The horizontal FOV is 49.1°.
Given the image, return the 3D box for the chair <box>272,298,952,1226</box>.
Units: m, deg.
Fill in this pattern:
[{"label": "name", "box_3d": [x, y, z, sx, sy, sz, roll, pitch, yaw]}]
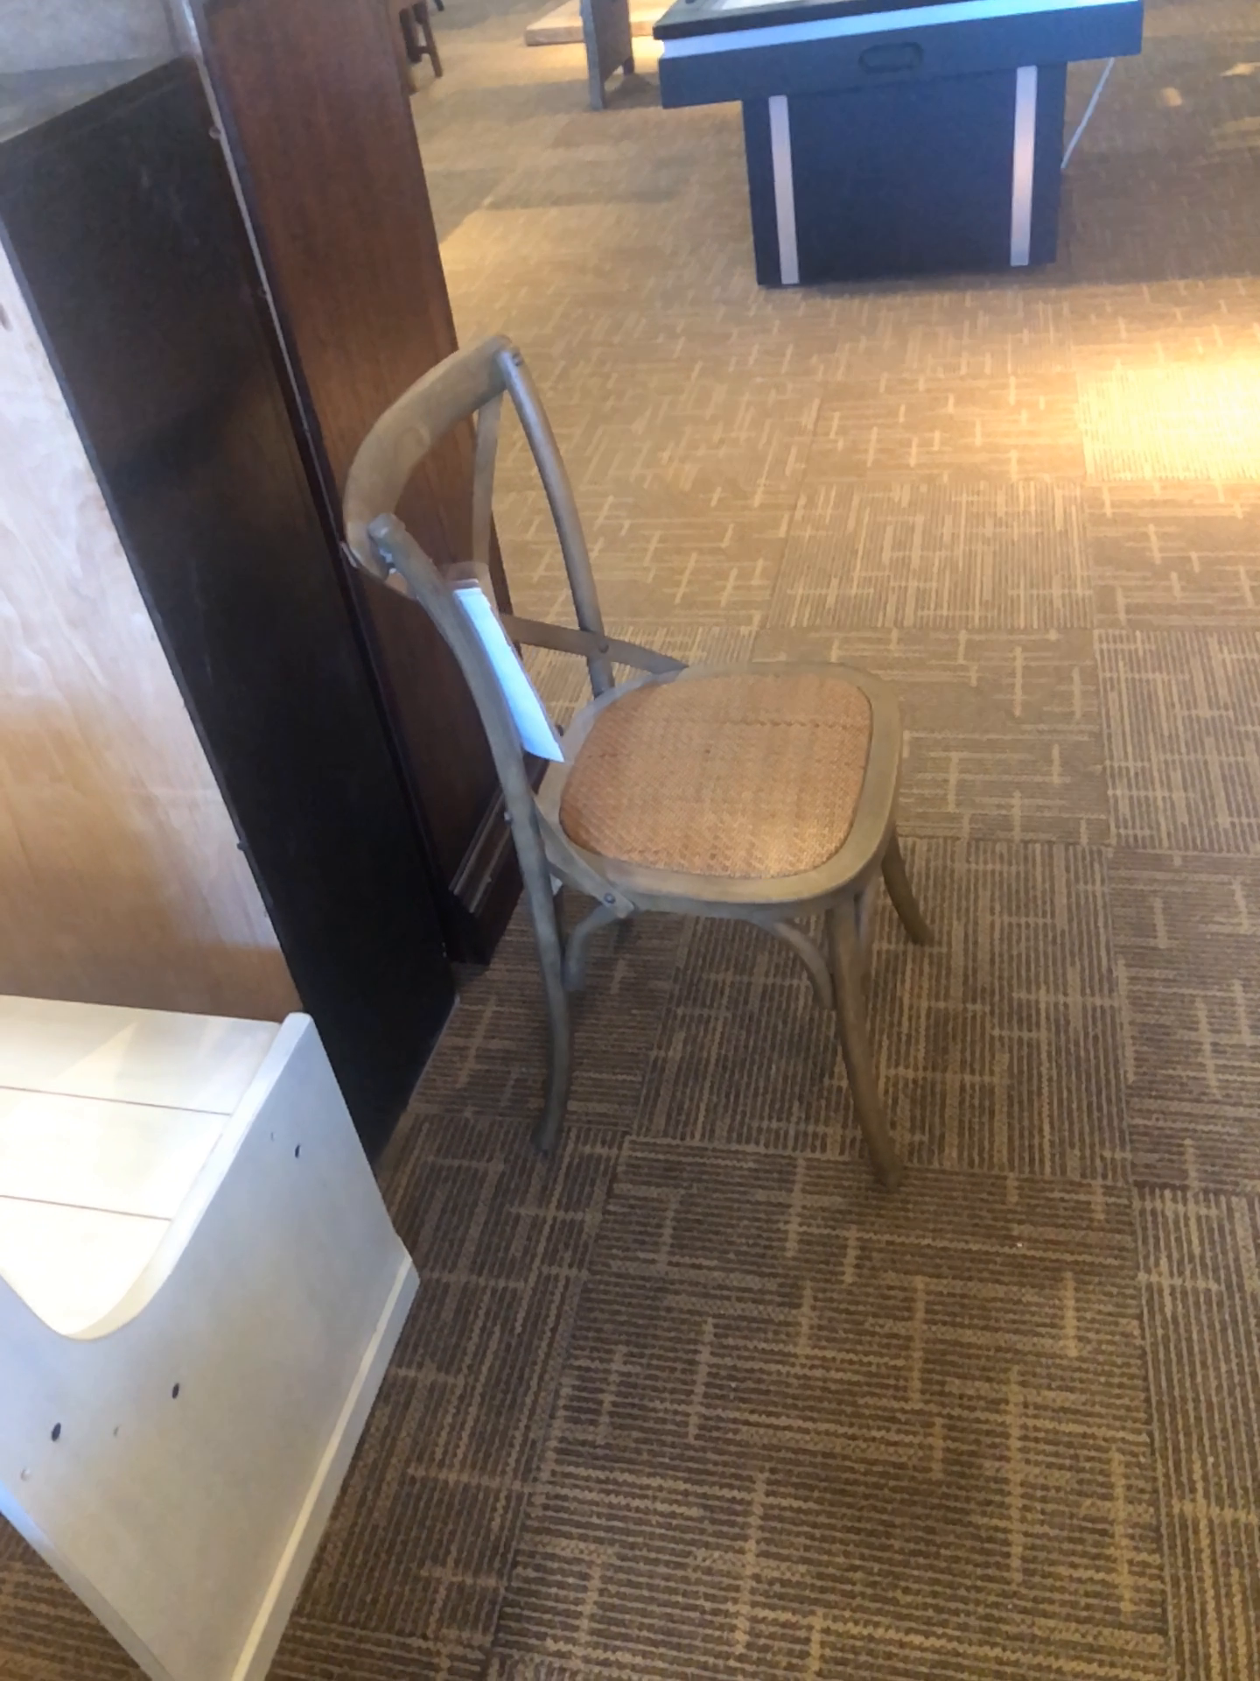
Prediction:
[{"label": "chair", "box_3d": [0.063, -0.070, 1.536, 0.529, 0.861, 0.492, 3, 40, 15]}]
